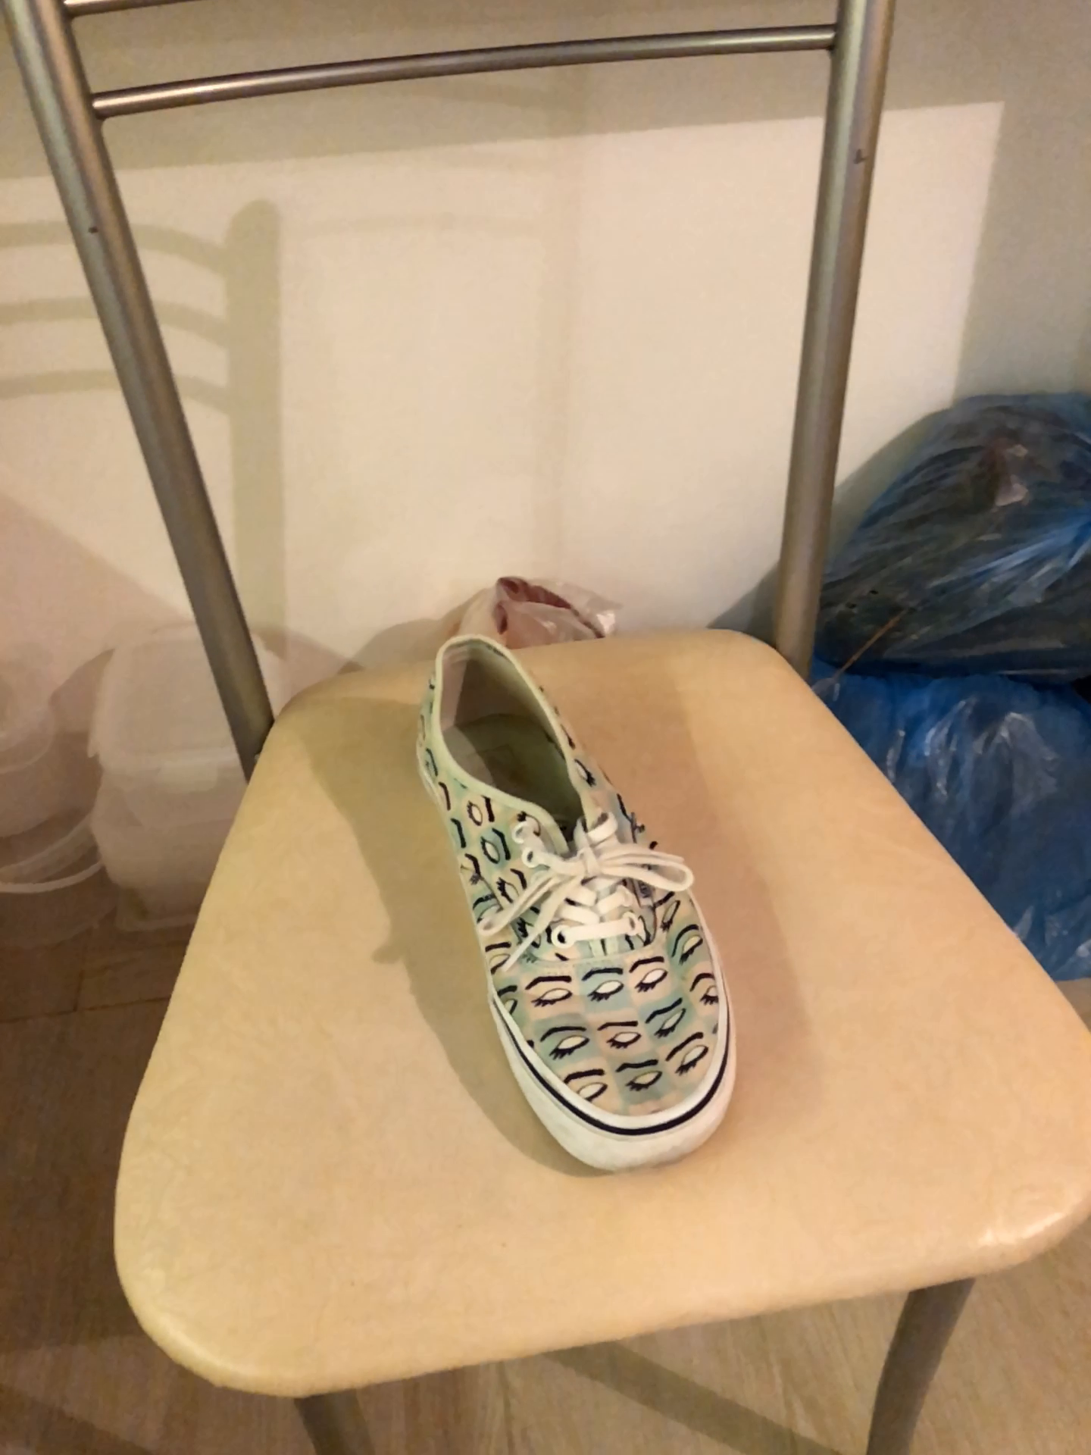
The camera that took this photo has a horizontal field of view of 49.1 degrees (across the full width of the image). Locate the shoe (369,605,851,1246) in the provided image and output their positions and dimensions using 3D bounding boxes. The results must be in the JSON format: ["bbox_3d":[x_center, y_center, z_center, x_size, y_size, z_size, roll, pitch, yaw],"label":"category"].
[{"bbox_3d":[0.010,0.061,0.499,0.110,0.068,0.262,-13,43,-12],"label":"shoe"}]
